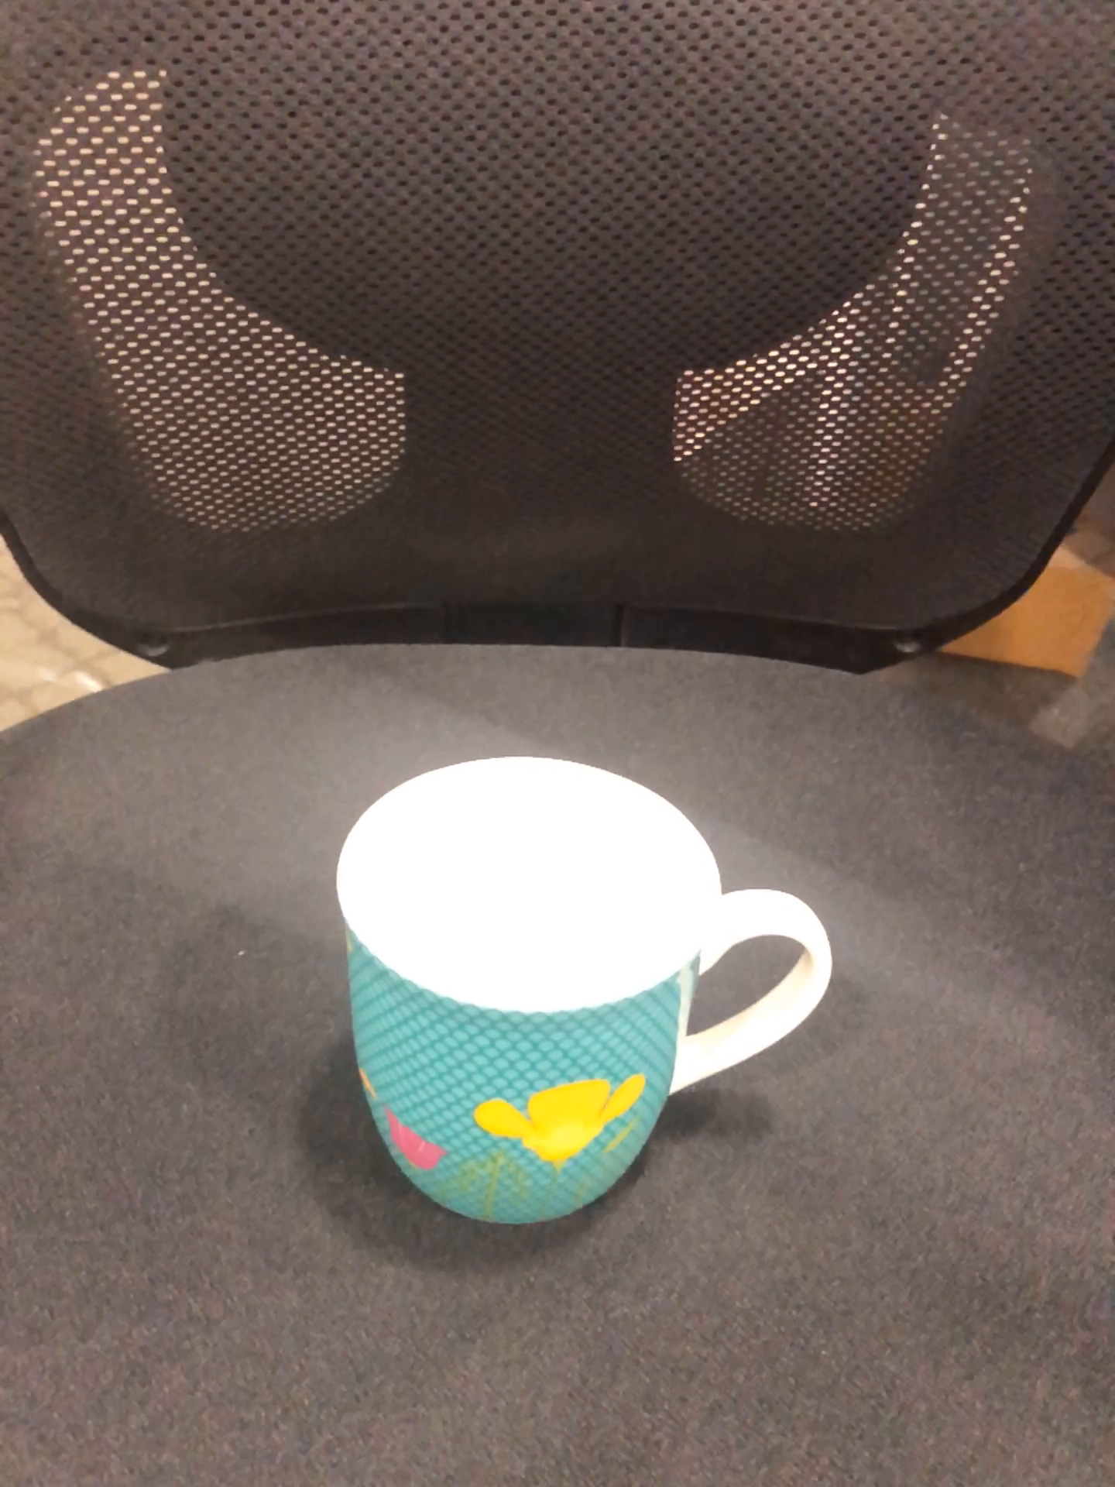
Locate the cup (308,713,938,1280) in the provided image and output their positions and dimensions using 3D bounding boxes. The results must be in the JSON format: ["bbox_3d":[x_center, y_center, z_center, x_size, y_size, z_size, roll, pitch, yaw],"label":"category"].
[{"bbox_3d":[0.007,0.052,0.273,0.110,0.080,0.070,-7,41,-15],"label":"cup"}]
